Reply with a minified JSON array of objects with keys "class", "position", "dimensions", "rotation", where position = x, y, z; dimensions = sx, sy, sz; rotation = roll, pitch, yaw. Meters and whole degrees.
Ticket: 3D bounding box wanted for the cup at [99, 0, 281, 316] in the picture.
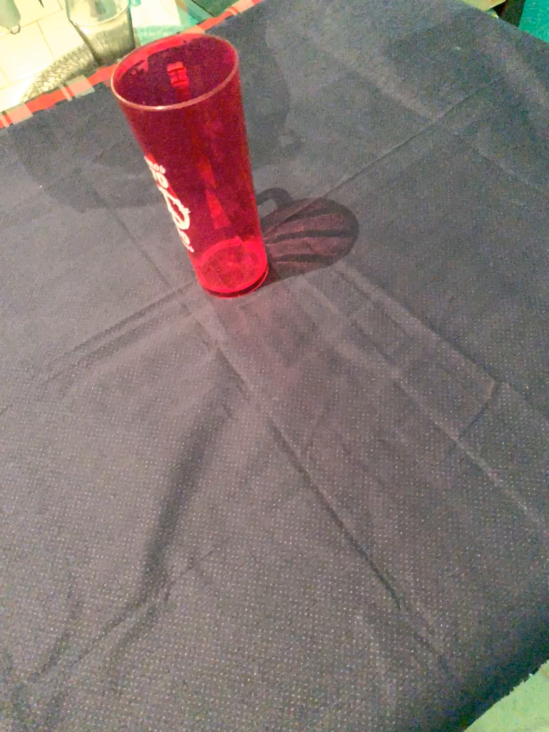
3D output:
[{"class":"cup","position":[-0.049,-0.130,0.376],"dimensions":[0.070,0.169,0.100],"rotation":[-13,58,1]}]
